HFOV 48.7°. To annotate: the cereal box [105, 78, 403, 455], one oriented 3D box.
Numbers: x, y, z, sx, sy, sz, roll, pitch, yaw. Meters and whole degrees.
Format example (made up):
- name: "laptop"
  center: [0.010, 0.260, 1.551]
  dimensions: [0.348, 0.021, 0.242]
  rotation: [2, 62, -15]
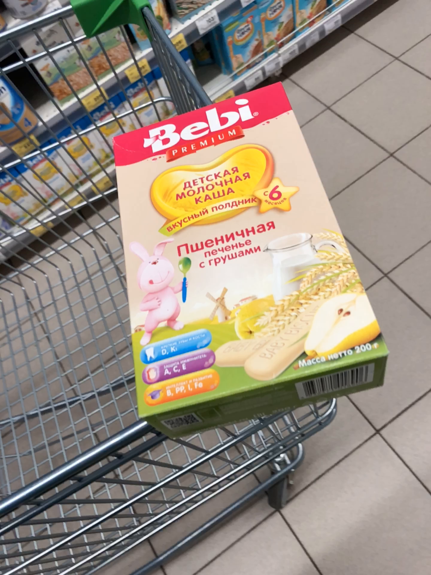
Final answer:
- name: "cereal box"
  center: [0.008, -0.023, 0.294]
  dimensions: [0.130, 0.050, 0.211]
  rotation: [-17, 58, 7]
